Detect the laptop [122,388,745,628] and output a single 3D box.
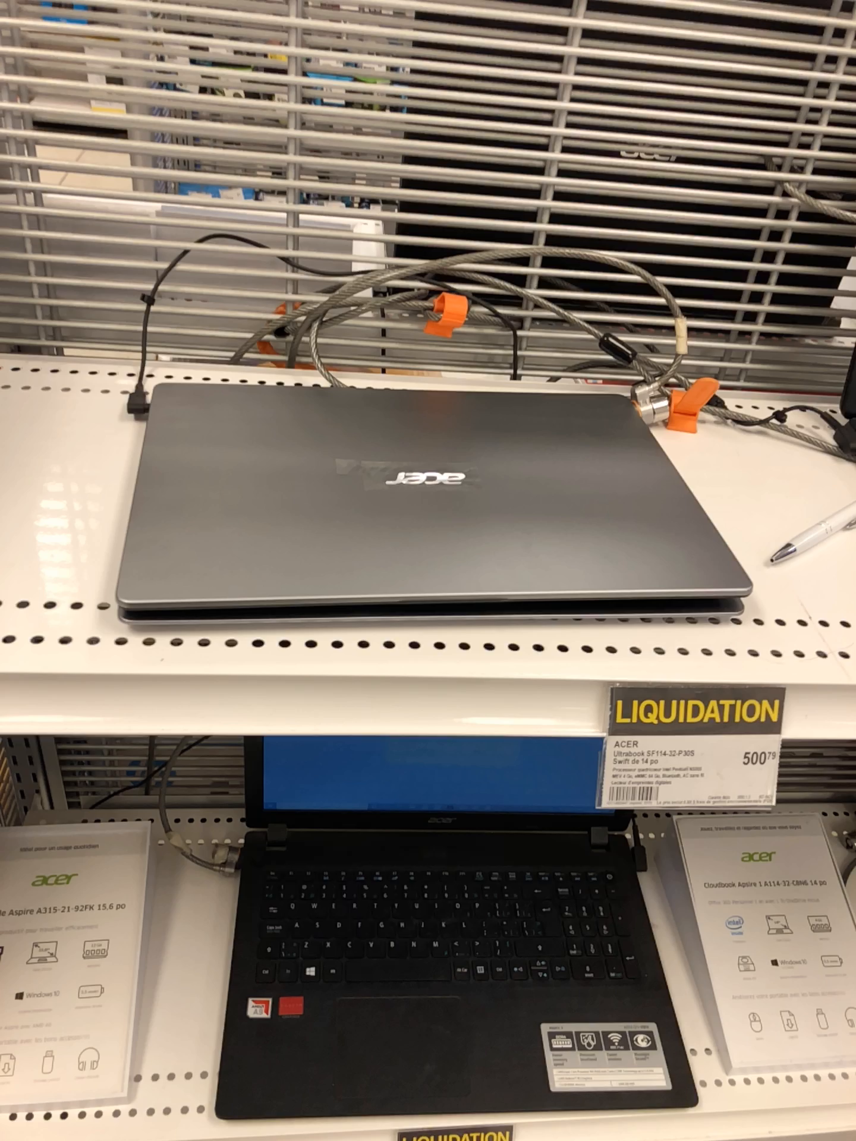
[{"bbox_3d":[-0.003,-0.047,0.556,0.316,0.006,0.220,0,40,-9],"label":"laptop"}]
